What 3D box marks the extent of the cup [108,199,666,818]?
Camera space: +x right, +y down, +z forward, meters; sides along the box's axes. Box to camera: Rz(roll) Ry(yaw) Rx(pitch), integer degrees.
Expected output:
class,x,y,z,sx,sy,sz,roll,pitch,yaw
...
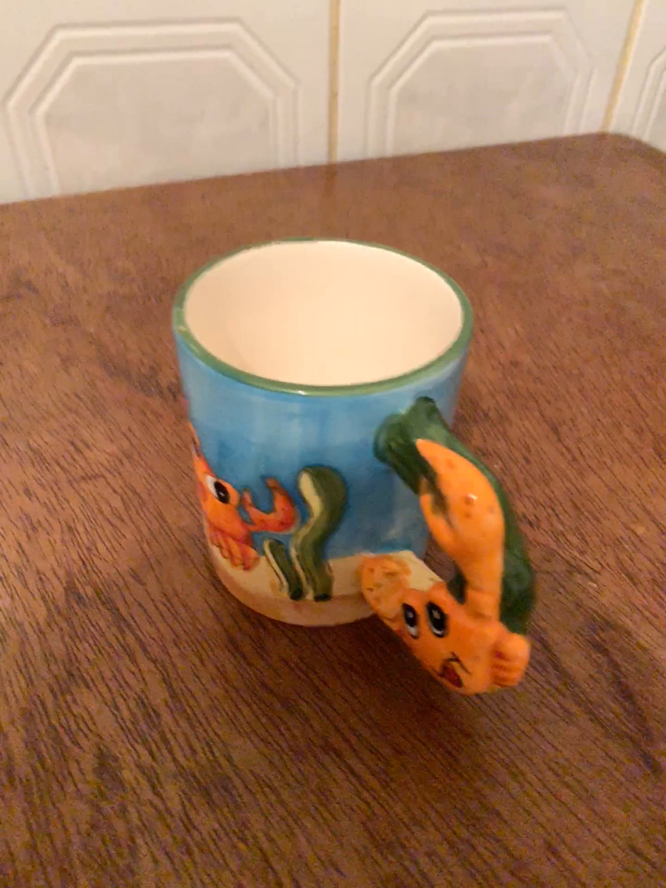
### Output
class,x,y,z,sx,sy,sz,roll,pitch,yaw
cup,0.007,0.008,0.203,0.080,0.099,0.130,-24,48,-27
